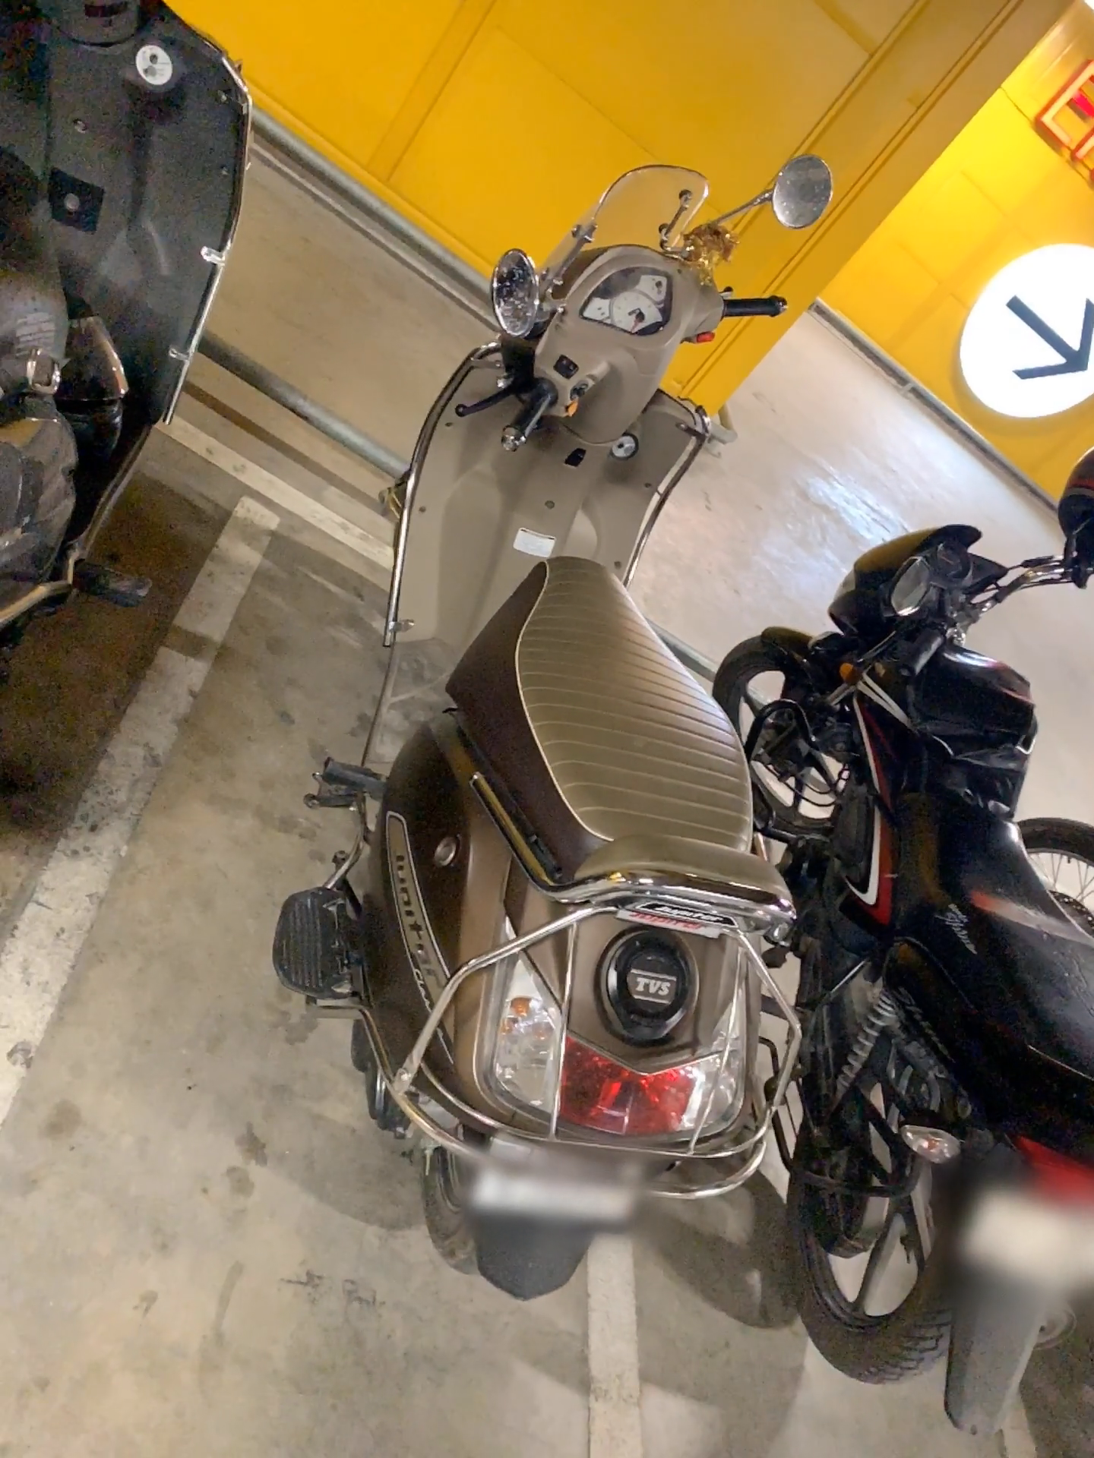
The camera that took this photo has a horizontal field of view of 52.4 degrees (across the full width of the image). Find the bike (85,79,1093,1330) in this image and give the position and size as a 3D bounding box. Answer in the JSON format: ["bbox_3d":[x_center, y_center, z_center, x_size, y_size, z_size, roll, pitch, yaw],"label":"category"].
[{"bbox_3d":[-0.104,-0.126,1.678,0.604,1.027,1.560,24,33,-31],"label":"bike"}]
